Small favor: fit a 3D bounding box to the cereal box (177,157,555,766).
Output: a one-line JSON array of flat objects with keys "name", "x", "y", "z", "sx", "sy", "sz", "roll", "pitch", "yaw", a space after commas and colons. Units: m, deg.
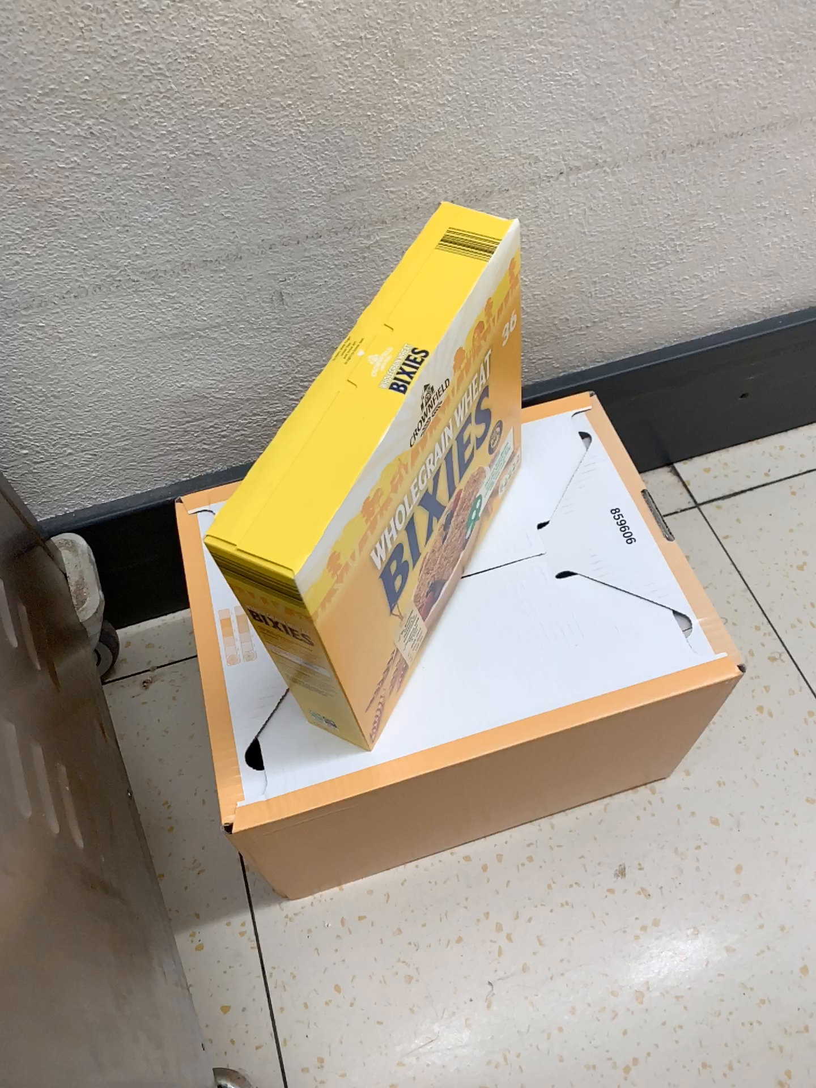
[{"name": "cereal box", "x": -0.003, "y": -0.040, "z": 0.553, "sx": 0.070, "sy": 0.278, "sz": 0.292, "roll": 22, "pitch": 61, "yaw": 16}]
